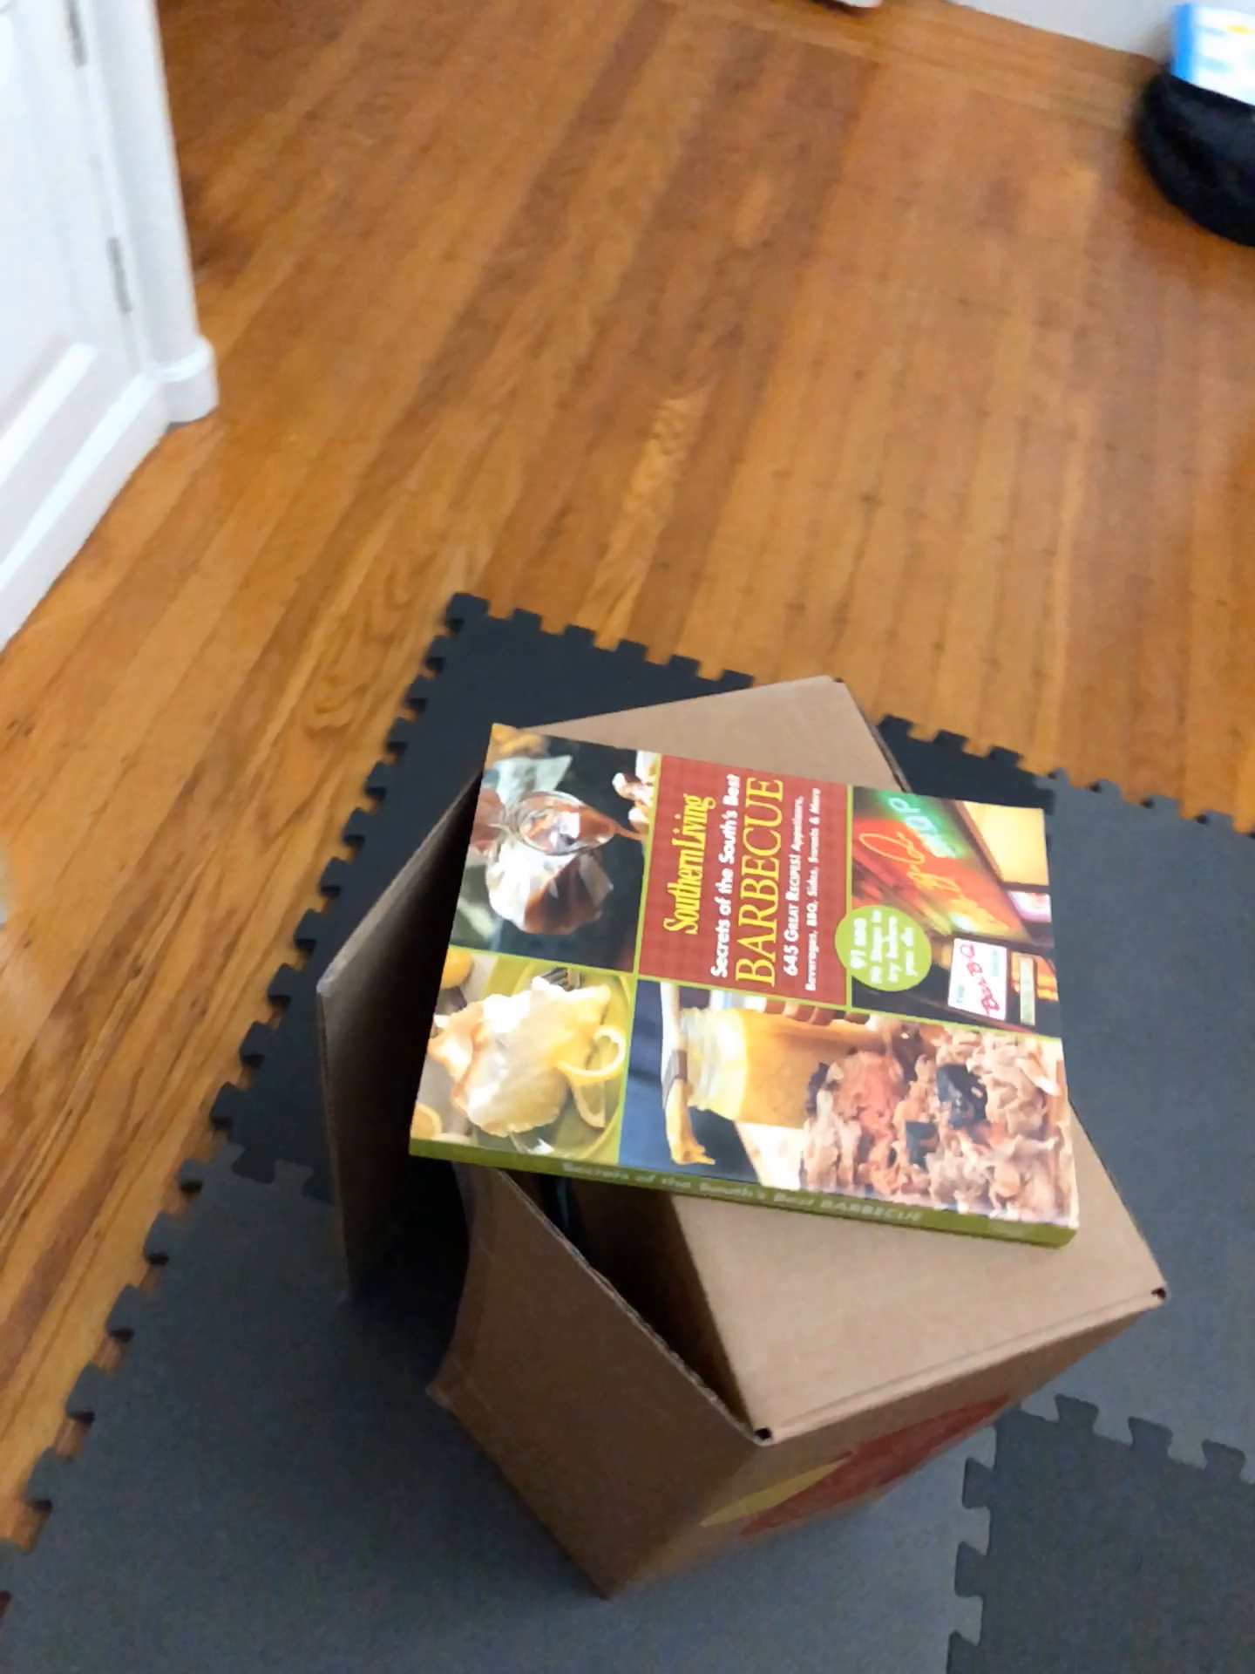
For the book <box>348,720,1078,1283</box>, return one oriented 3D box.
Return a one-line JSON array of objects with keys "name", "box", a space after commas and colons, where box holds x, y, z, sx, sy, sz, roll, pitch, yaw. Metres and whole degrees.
[{"name": "book", "box": [0.045, 0.063, 0.611, 0.290, 0.020, 0.221, 9, 55, -4]}]
